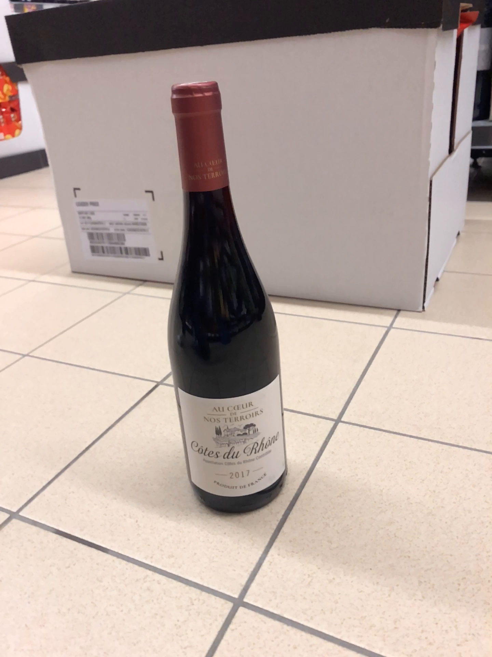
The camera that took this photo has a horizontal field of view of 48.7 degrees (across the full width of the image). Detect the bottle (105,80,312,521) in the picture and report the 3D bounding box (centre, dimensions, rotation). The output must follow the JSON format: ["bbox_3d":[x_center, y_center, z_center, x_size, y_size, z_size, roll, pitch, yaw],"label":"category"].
[{"bbox_3d":[-0.012,-0.011,0.358,0.090,0.269,0.090,-4,25,2],"label":"bottle"}]
